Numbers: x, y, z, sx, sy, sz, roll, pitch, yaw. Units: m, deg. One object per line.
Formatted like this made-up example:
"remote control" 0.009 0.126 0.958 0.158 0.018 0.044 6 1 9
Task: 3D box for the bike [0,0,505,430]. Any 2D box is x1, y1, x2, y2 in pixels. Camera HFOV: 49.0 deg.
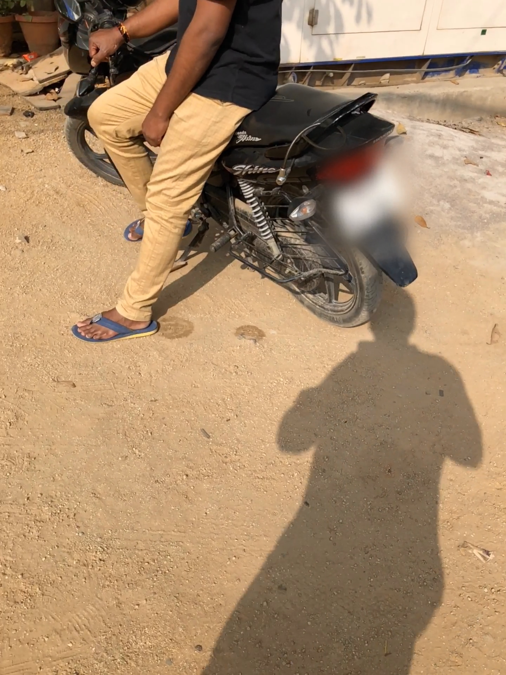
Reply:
"bike" -0.296 -0.765 1.990 1.693 1.214 0.883 31 46 30
